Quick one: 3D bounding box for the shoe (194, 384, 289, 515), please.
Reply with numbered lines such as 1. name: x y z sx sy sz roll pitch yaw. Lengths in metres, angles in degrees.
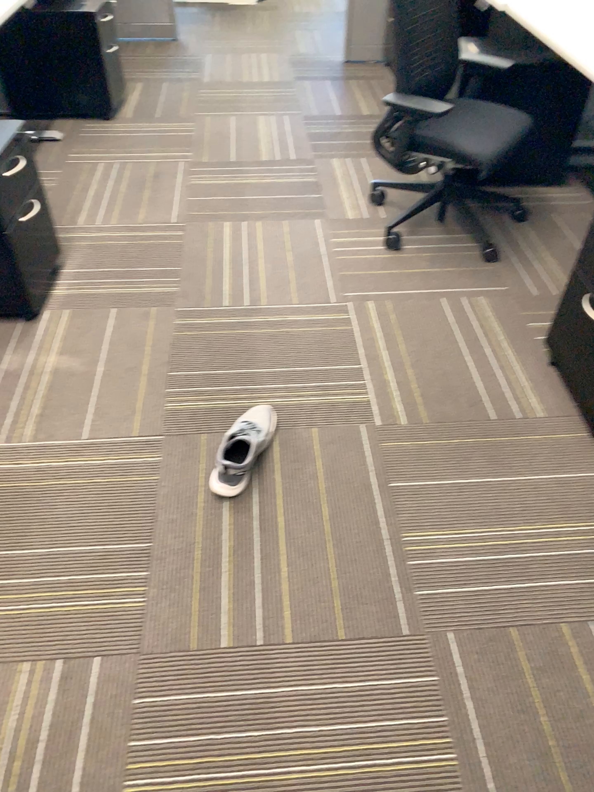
1. shoe: -0.135 0.132 1.592 0.160 0.109 0.332 9 45 8
